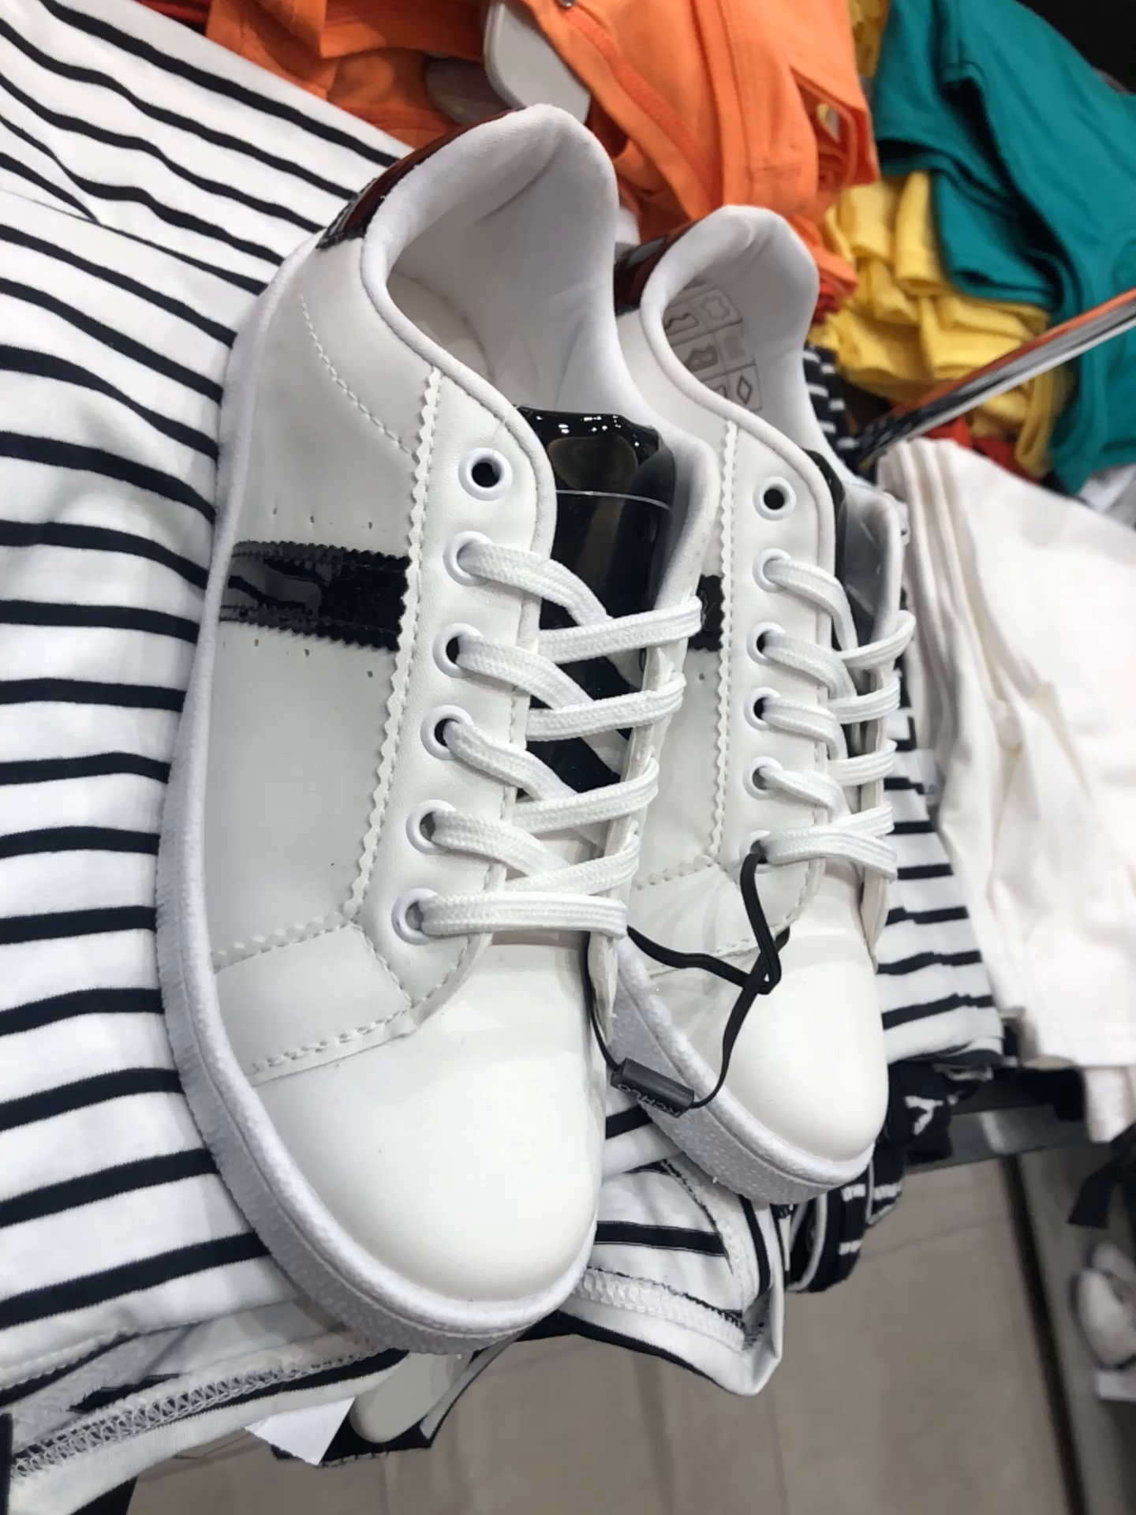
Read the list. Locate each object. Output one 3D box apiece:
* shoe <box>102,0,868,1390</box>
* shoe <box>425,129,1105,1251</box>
[{"bbox_3d":[-0.022,-0.017,0.217,0.080,0.079,0.210,12,66,-45],"label":"shoe"},{"bbox_3d":[0.039,-0.010,0.284,0.091,0.079,0.210,9,68,-46],"label":"shoe"}]
